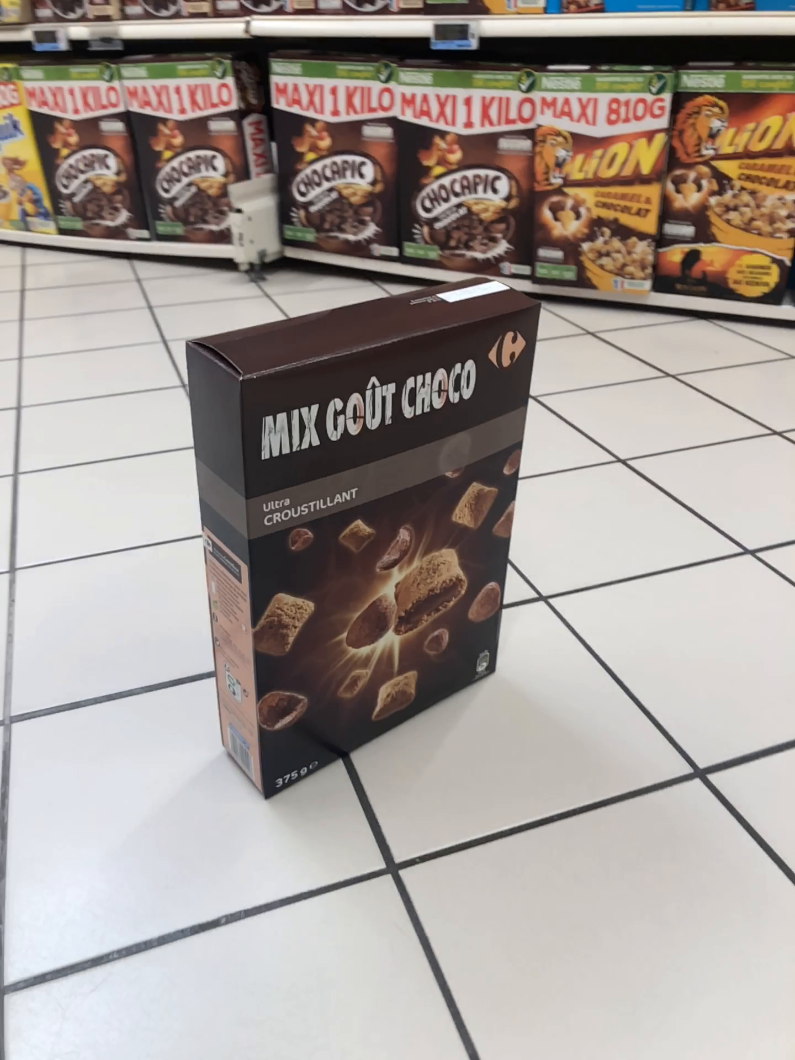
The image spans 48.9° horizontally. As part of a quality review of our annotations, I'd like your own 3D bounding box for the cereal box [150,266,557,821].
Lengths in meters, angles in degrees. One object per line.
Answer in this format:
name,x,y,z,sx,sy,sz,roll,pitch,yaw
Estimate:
cereal box,-0.019,0.004,0.516,0.201,0.268,0.080,-22,39,-34
